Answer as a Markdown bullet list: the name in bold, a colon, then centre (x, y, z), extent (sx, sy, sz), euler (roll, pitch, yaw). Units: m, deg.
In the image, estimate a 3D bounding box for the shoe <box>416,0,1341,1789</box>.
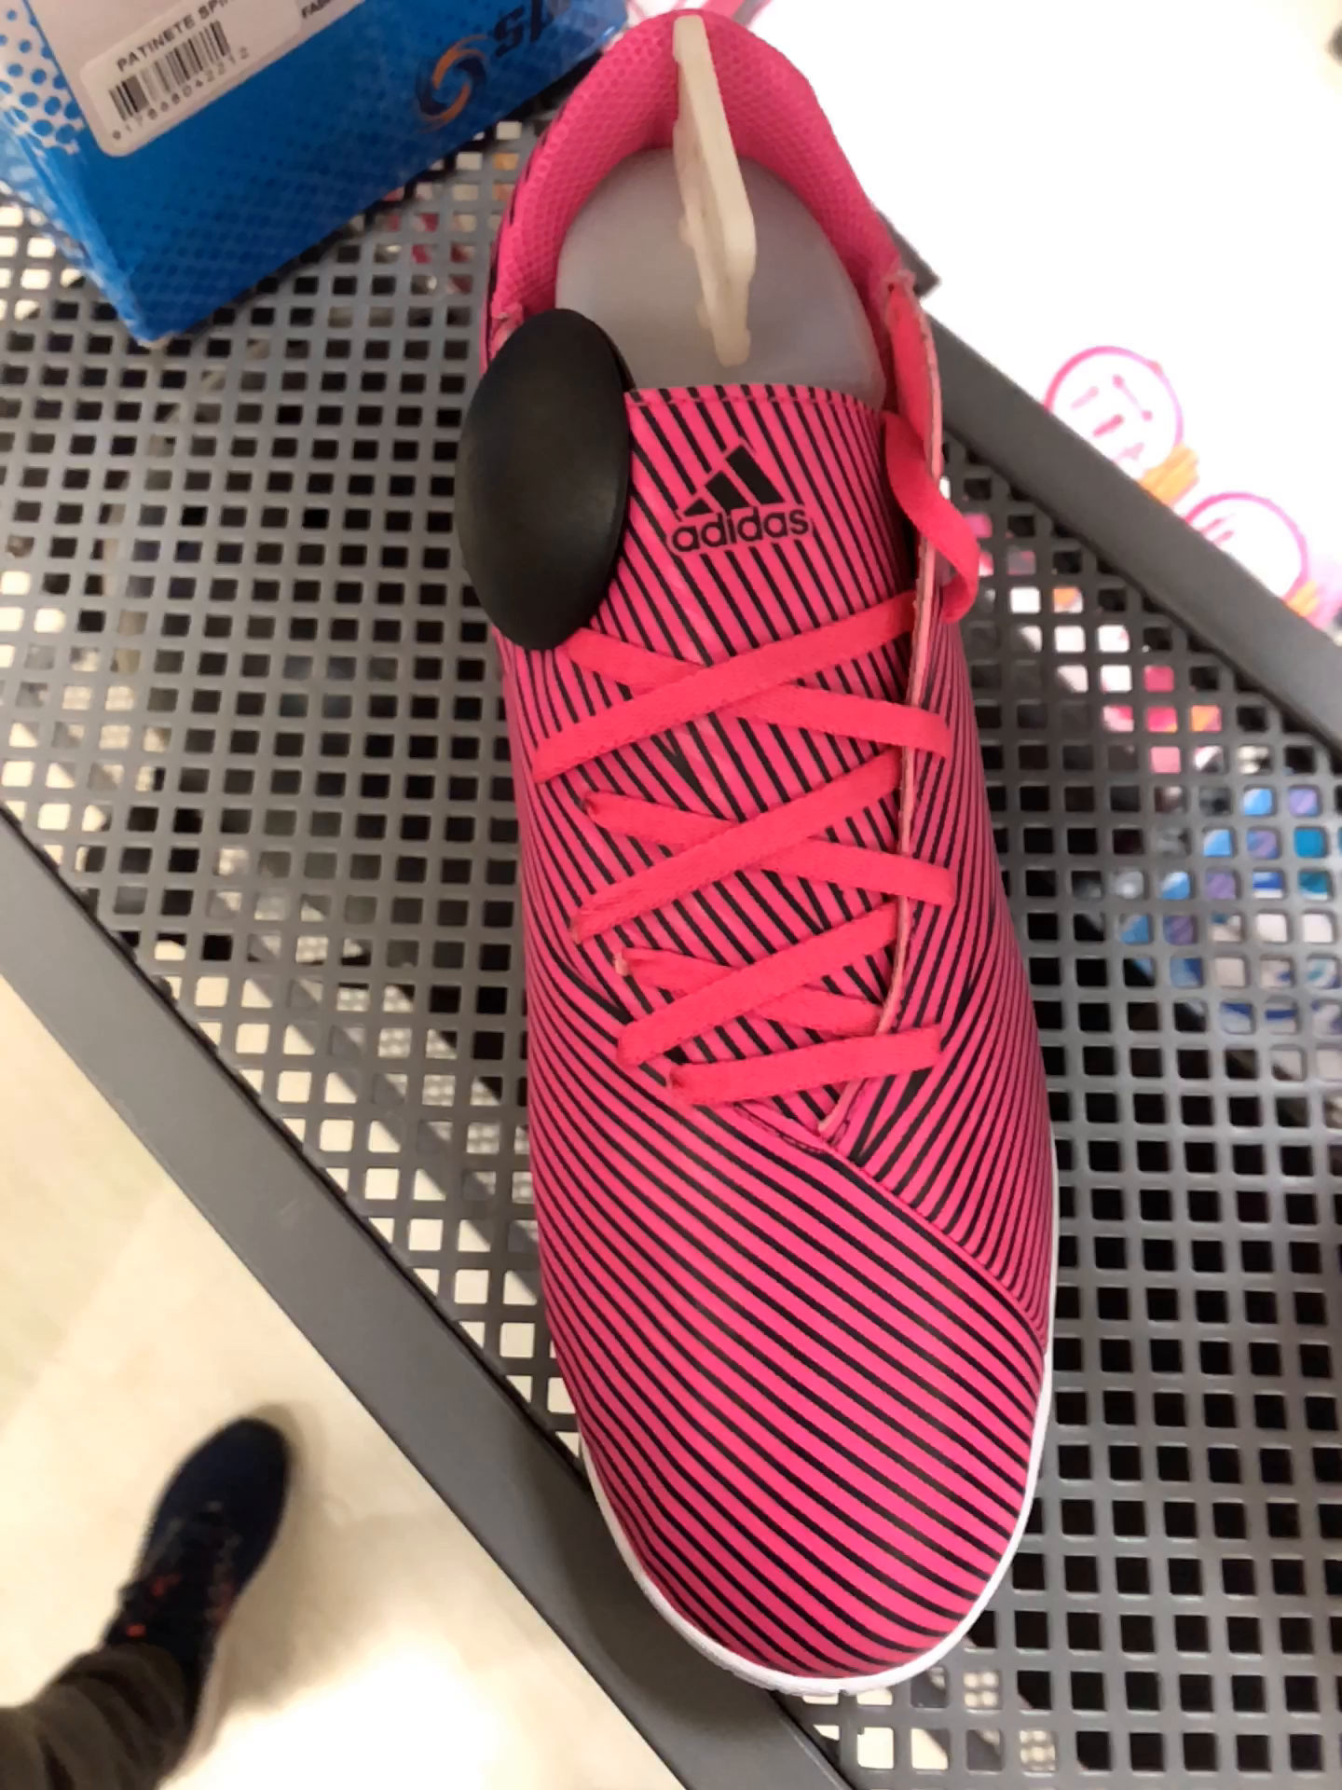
- **shoe**: centre (0.017, -0.010, 0.239), extent (0.095, 0.100, 0.260), euler (-4, 72, 1)
